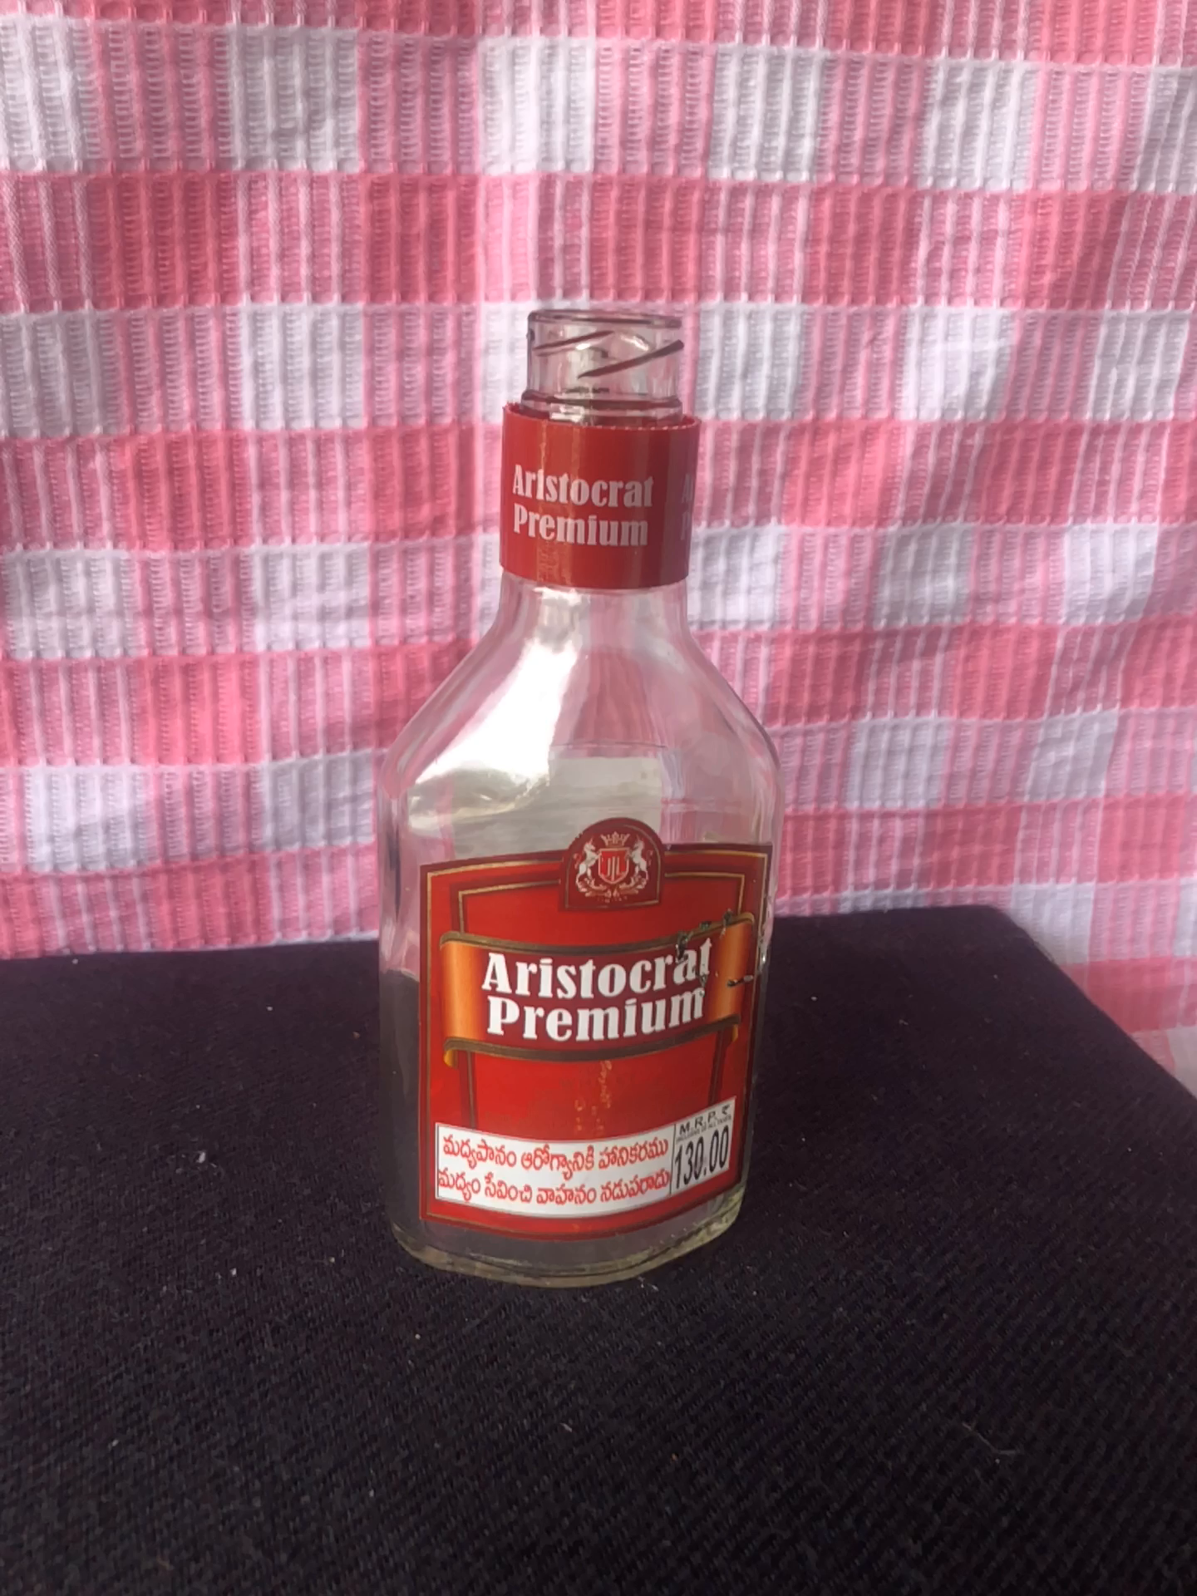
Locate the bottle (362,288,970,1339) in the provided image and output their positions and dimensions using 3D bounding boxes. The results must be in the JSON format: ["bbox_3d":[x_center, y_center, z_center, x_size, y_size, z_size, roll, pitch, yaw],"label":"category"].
[{"bbox_3d":[0.000,0.005,0.208,0.070,0.149,0.050,-1,24,-13],"label":"bottle"}]
